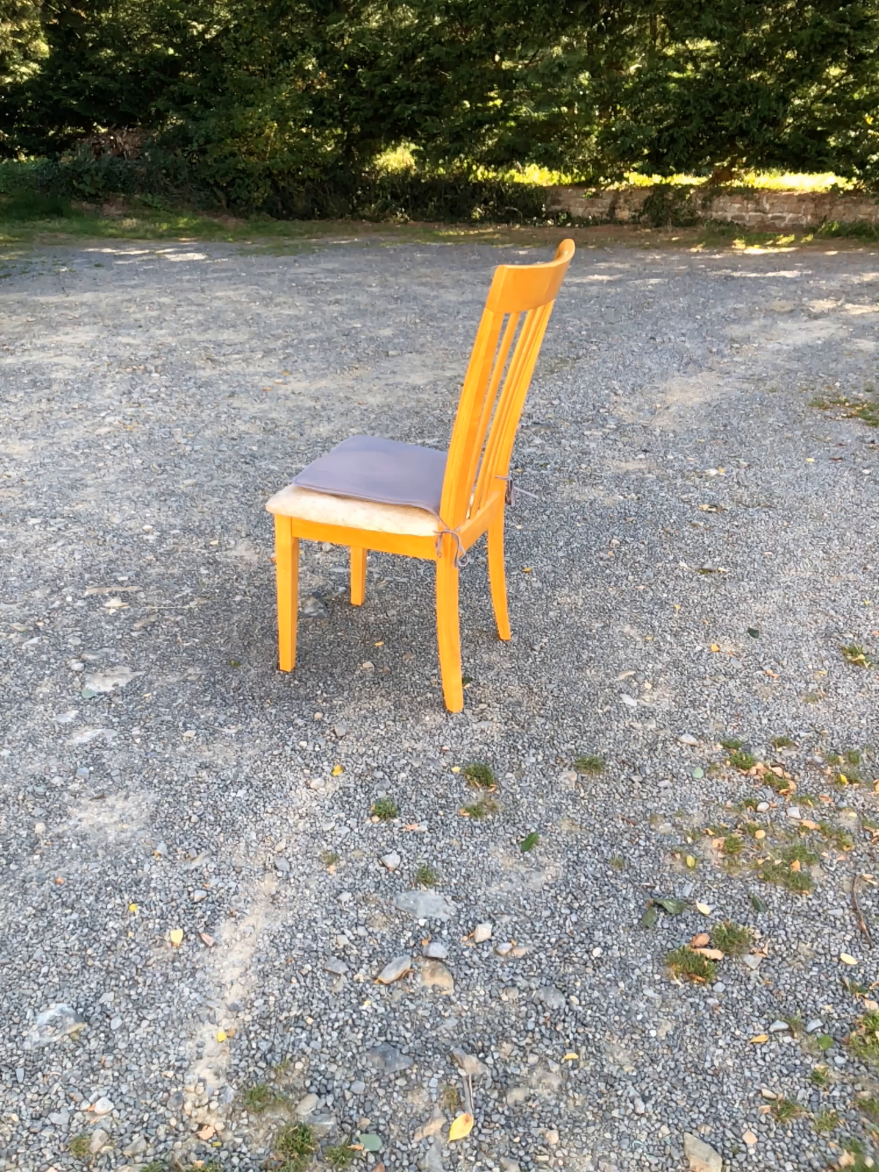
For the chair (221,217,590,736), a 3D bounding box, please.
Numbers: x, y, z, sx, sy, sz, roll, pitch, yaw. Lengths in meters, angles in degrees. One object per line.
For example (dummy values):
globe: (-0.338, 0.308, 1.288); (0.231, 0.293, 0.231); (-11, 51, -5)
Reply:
chair: (-0.047, -0.272, 2.203); (0.610, 0.994, 0.513); (10, 30, 19)
